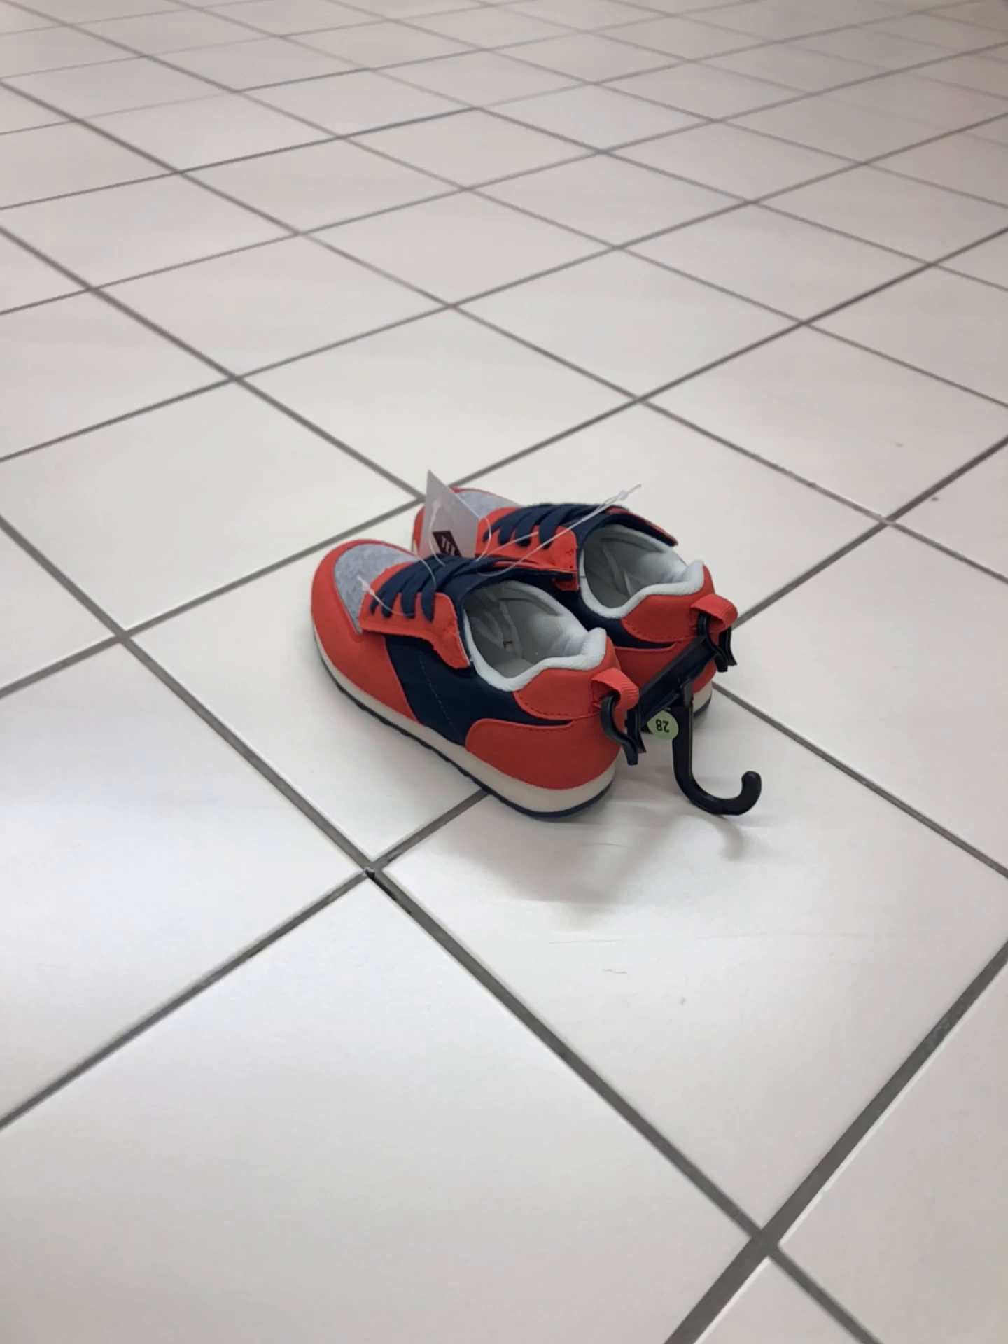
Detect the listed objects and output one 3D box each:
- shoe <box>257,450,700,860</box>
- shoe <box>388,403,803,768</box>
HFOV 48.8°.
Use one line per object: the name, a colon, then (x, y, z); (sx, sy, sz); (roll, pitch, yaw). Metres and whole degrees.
shoe: (-0.017, -0.016, 0.510); (0.188, 0.083, 0.082); (33, 49, 30)
shoe: (0.037, -0.050, 0.553); (0.187, 0.083, 0.082); (33, 49, 30)
